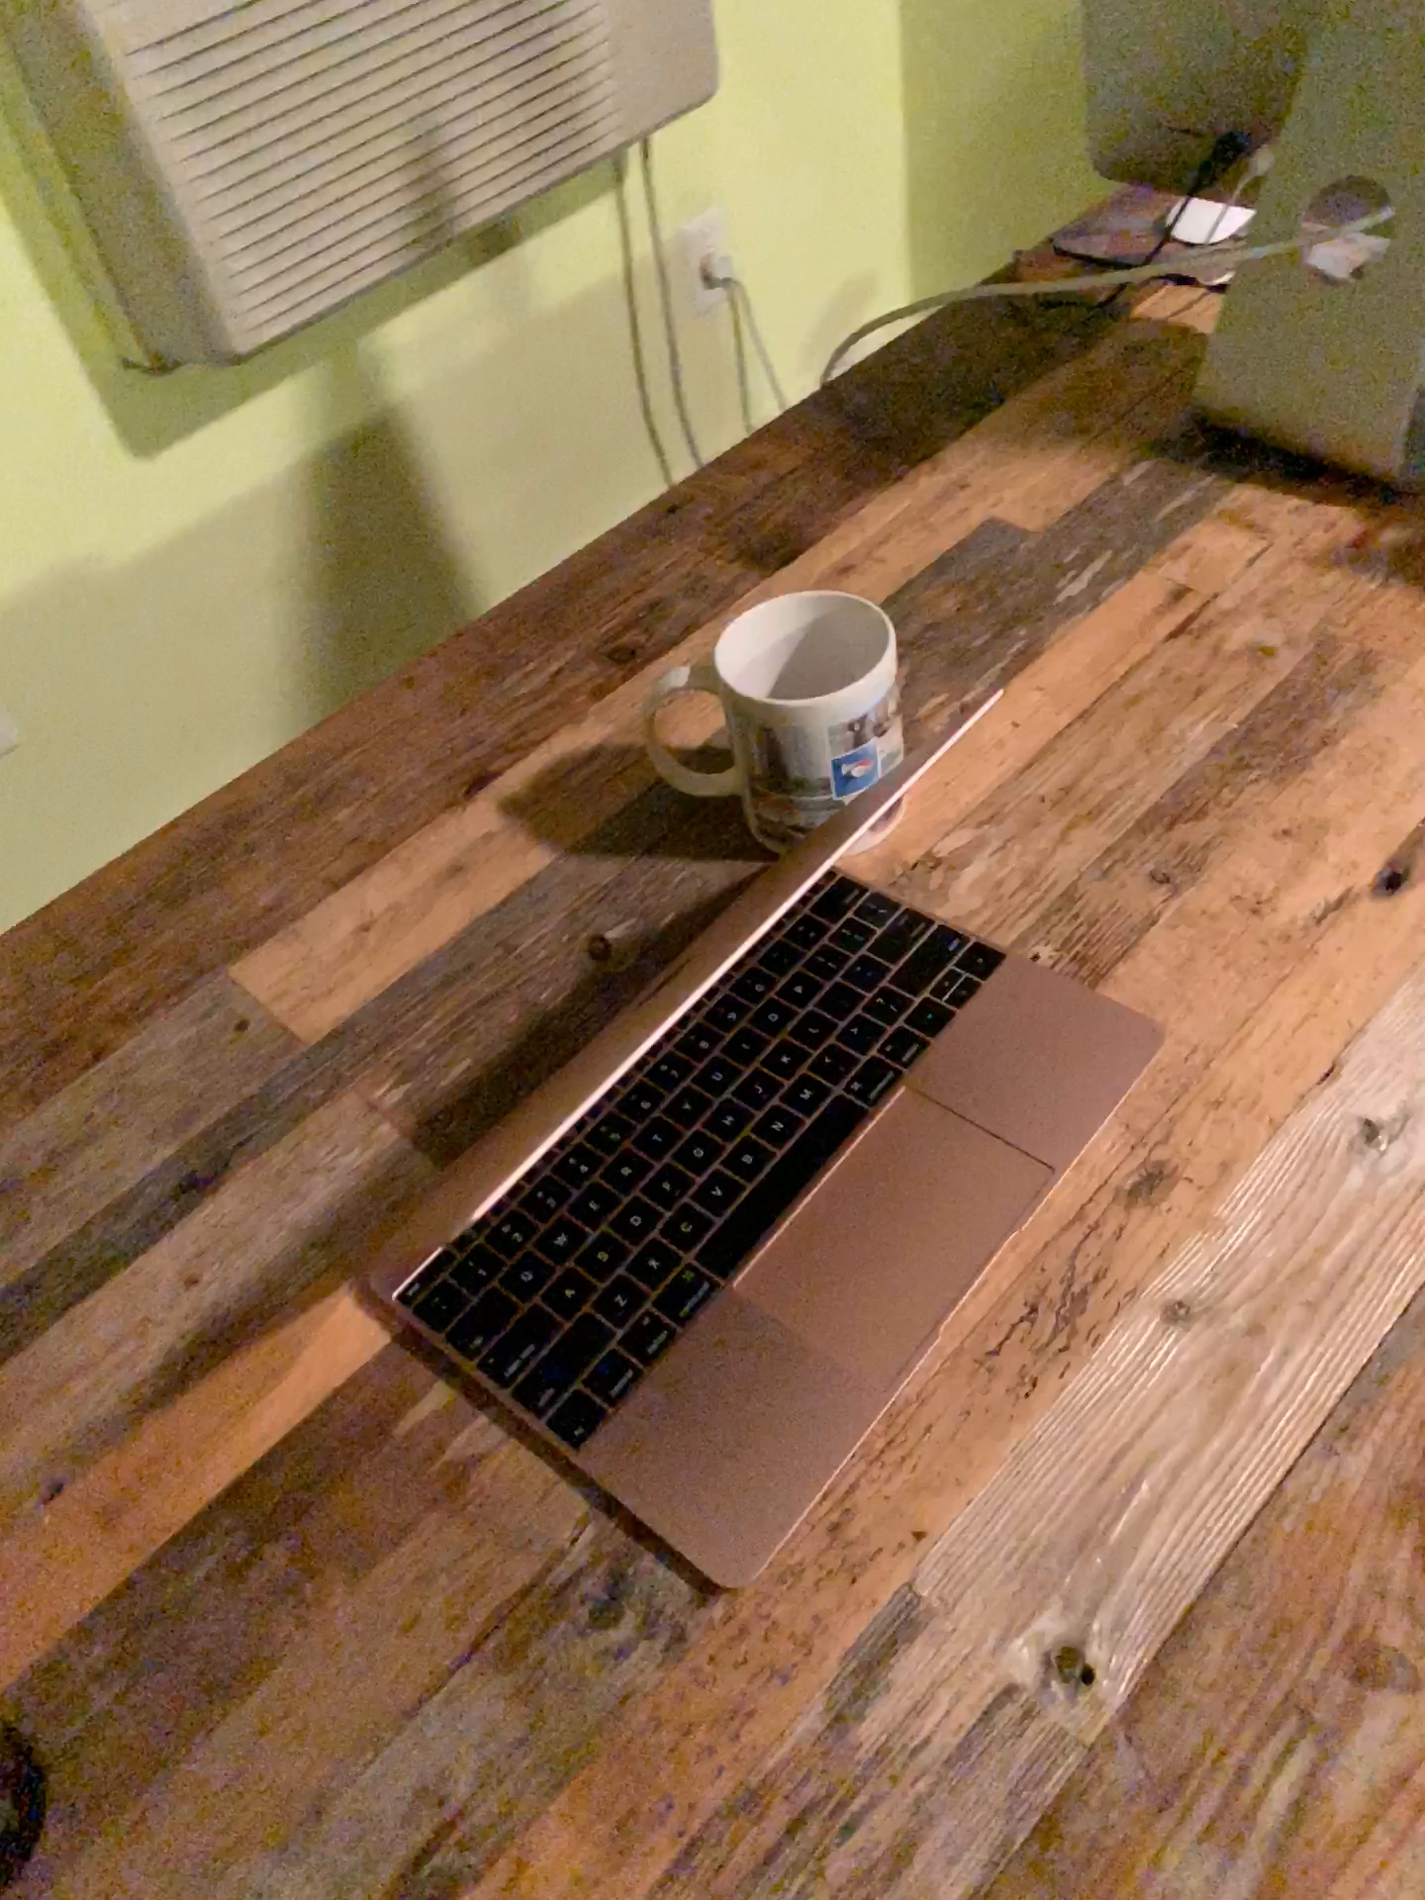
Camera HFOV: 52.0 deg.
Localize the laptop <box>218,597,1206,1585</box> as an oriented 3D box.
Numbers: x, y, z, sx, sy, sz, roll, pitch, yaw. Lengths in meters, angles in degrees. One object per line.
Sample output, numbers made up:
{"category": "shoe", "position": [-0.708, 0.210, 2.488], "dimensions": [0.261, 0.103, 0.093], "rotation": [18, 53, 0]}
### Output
{"category": "laptop", "position": [0.014, 0.033, 0.538], "dimensions": [0.194, 0.145, 0.279], "rotation": [29, 59, 31]}
